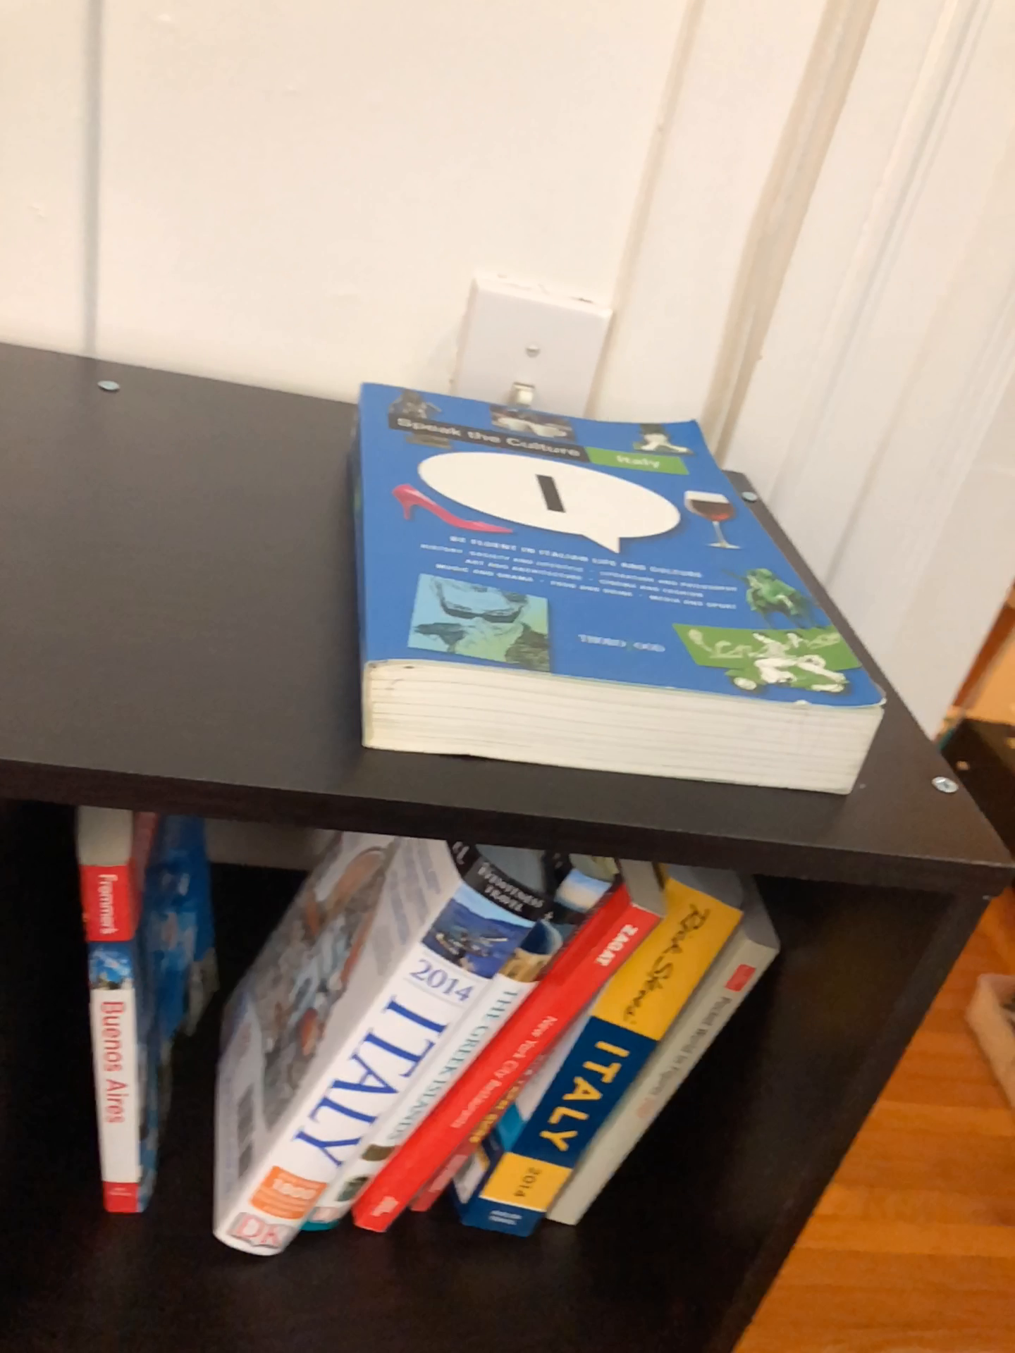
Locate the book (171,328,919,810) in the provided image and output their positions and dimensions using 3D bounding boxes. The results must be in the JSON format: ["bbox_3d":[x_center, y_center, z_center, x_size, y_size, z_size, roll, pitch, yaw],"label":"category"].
[{"bbox_3d":[-0.003,-0.055,0.407,0.200,0.030,0.261,6,32,-13],"label":"book"}]
